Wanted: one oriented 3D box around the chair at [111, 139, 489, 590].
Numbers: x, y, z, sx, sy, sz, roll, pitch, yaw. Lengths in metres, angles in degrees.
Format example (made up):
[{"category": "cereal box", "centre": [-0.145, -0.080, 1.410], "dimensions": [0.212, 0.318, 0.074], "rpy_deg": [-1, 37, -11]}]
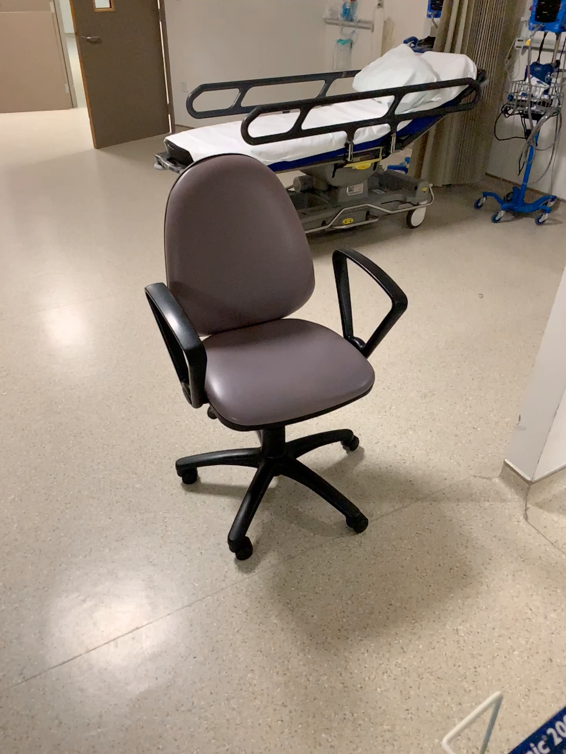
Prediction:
[{"category": "chair", "centre": [-0.004, -0.078, 1.576], "dimensions": [0.633, 0.899, 0.659], "rpy_deg": [-16, 38, -23]}]
